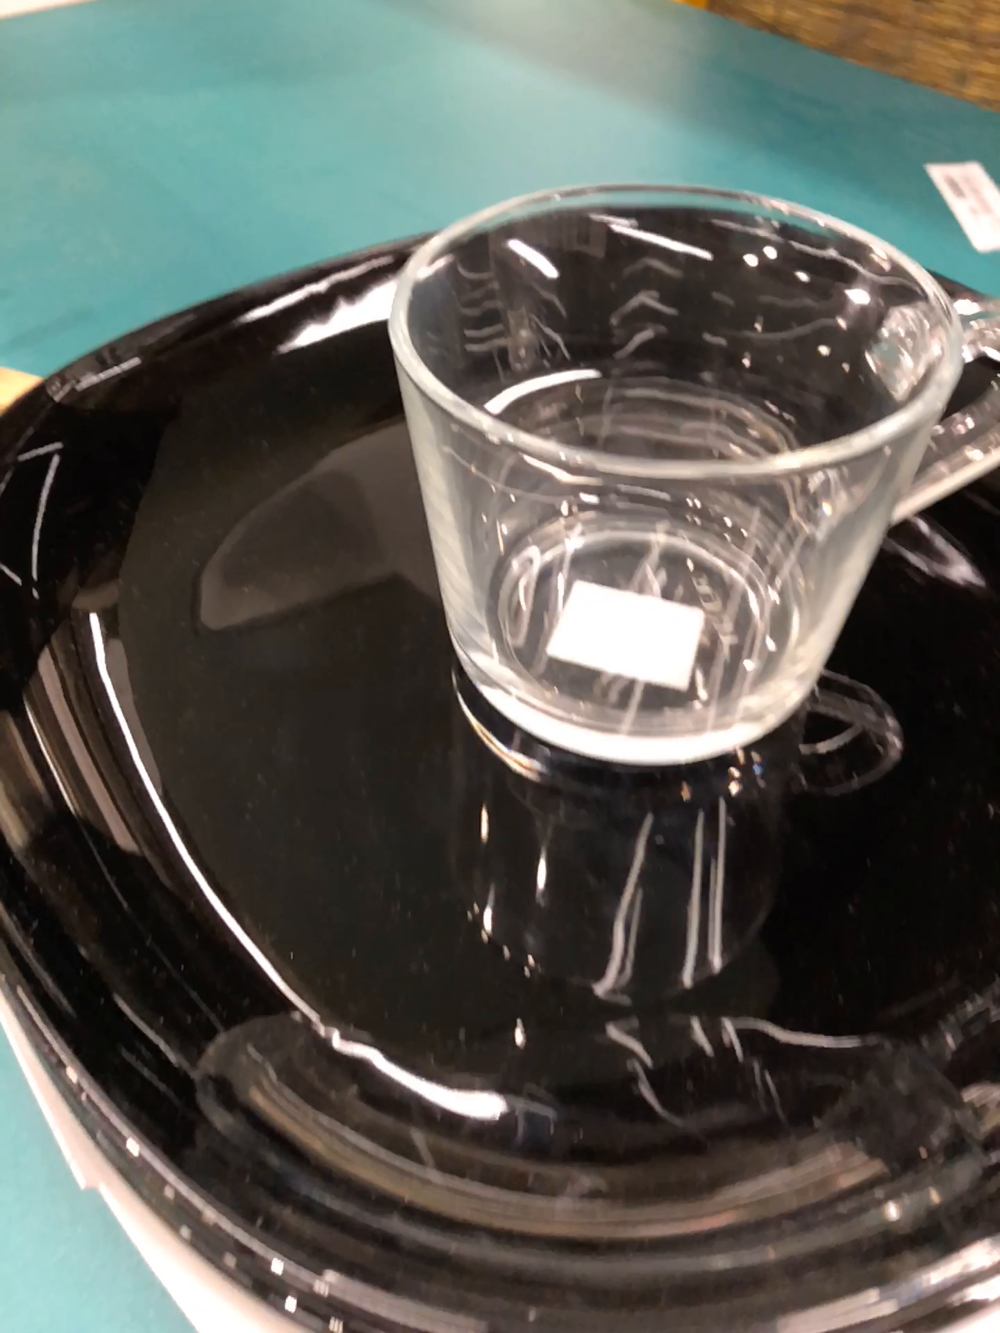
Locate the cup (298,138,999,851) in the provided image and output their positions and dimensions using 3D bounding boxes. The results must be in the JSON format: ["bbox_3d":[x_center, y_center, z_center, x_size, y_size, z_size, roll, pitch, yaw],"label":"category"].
[{"bbox_3d":[0.041,-0.048,0.253,0.140,0.080,0.120,-15,46,-13],"label":"cup"}]
